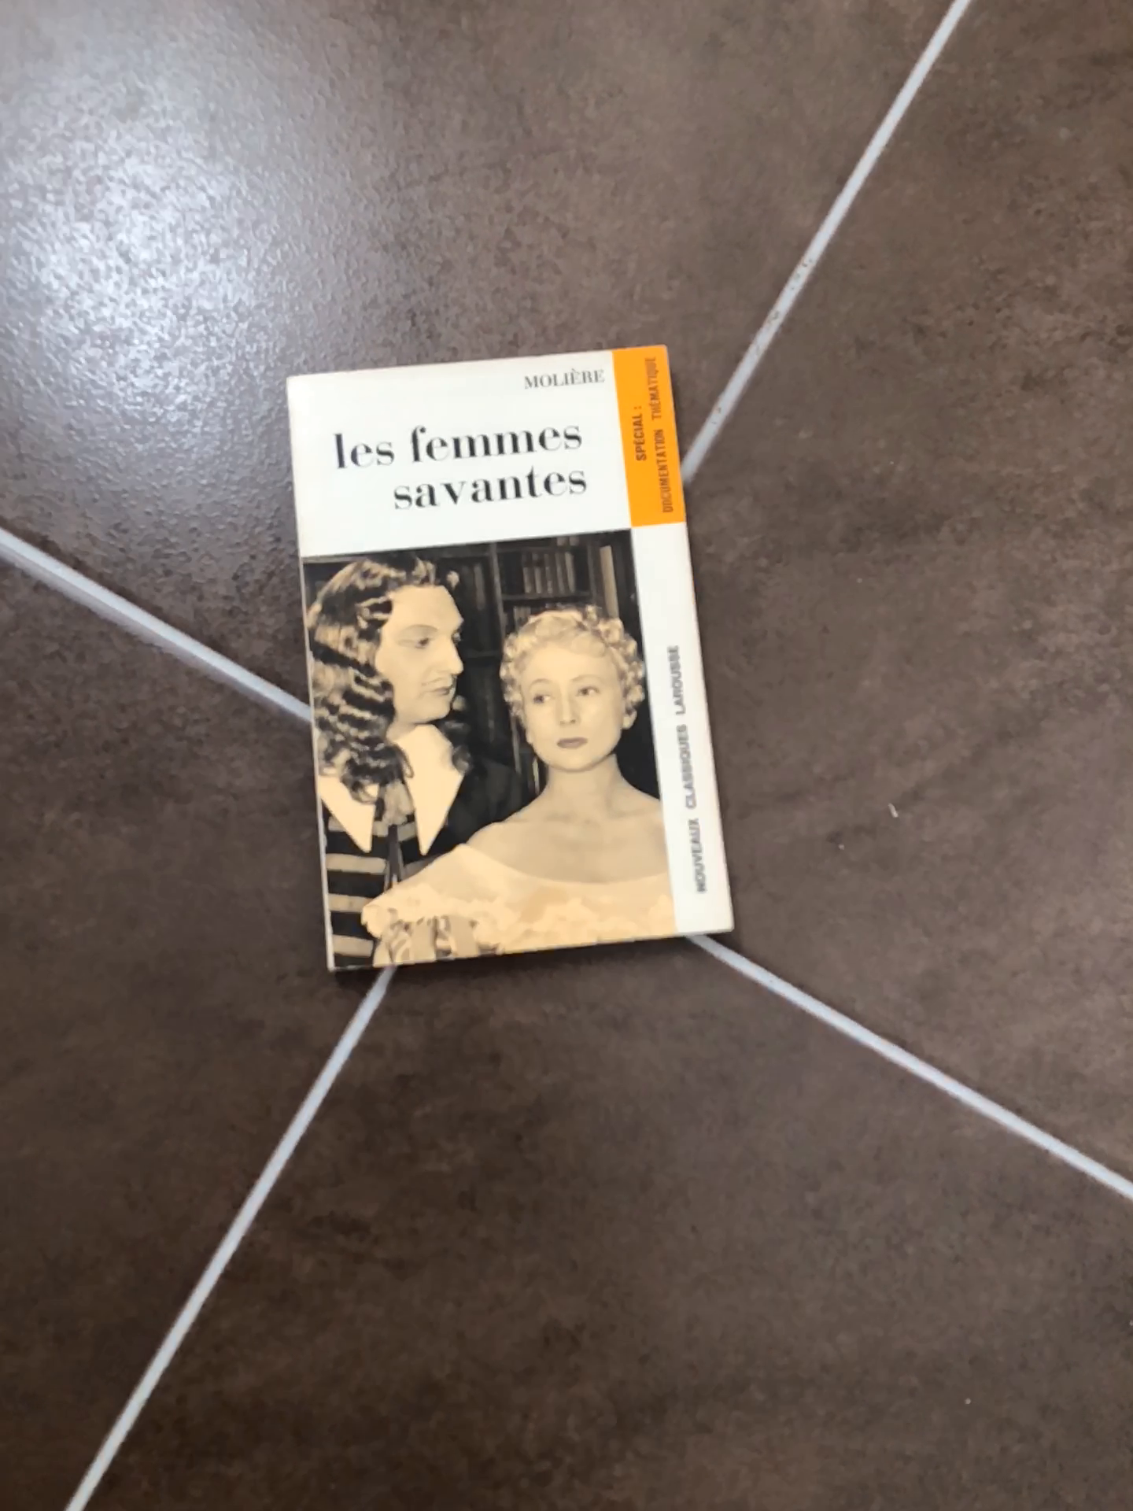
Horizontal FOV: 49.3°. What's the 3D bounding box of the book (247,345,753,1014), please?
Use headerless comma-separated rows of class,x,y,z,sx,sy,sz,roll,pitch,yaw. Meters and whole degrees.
book,-0.019,-0.022,0.340,0.120,0.020,0.170,-5,86,-3
